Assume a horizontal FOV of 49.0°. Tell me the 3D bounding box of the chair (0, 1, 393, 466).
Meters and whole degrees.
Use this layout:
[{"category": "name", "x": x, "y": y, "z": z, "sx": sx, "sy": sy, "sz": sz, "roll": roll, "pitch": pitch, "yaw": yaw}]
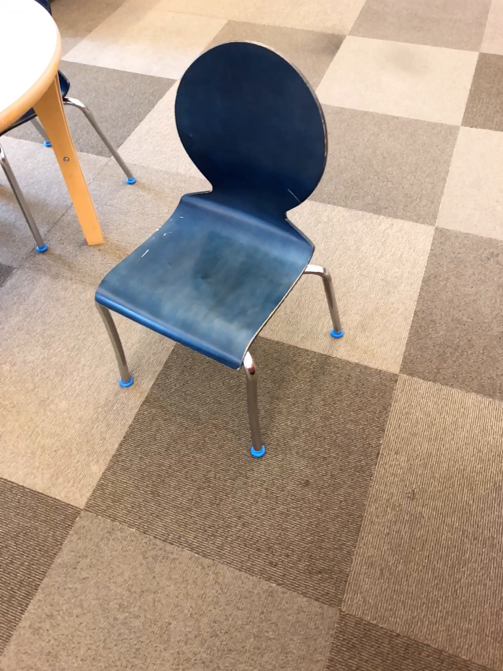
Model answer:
[{"category": "chair", "x": -0.089, "y": -0.183, "z": 1.154, "sx": 0.497, "sy": 0.699, "sz": 0.475, "roll": 24, "pitch": 57, "yaw": 20}]
